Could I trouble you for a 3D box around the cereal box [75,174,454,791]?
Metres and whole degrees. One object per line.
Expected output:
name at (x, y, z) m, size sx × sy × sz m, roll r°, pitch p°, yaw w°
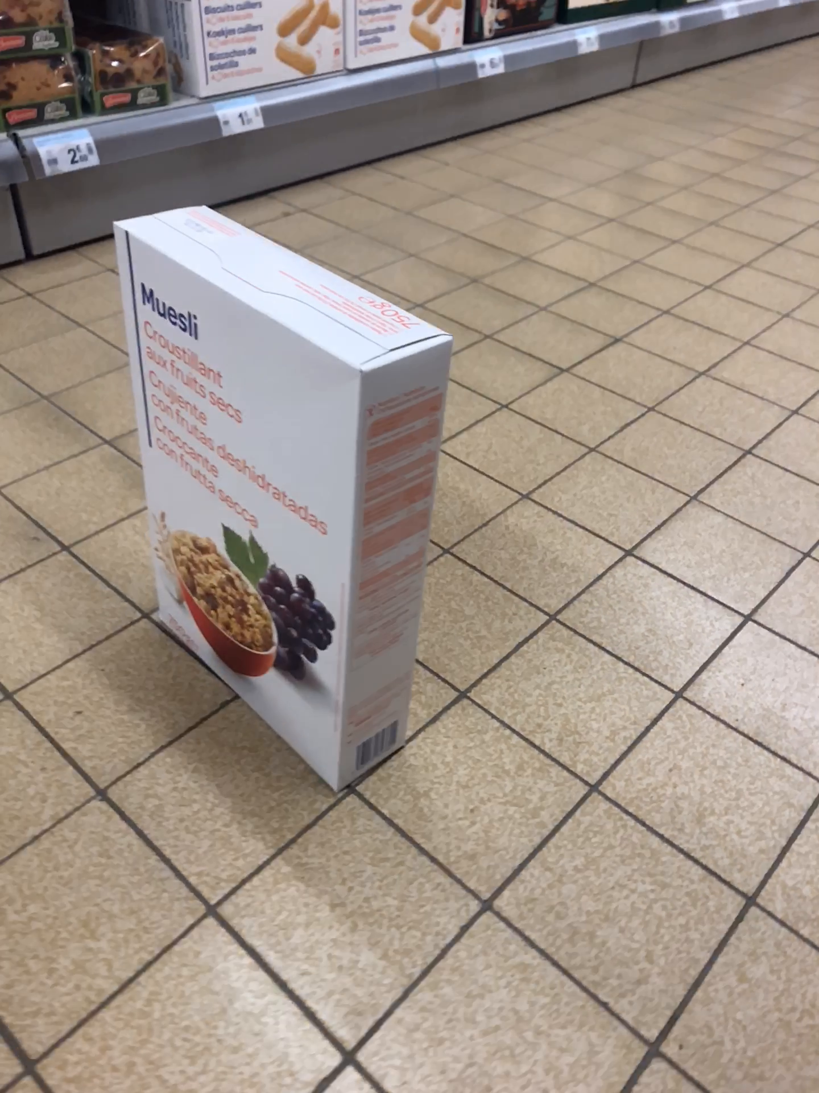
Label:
cereal box at (-0.083, -0.031, 0.487) m, size 0.060 × 0.268 × 0.200 m, roll -28°, pitch 49°, yaw -35°
